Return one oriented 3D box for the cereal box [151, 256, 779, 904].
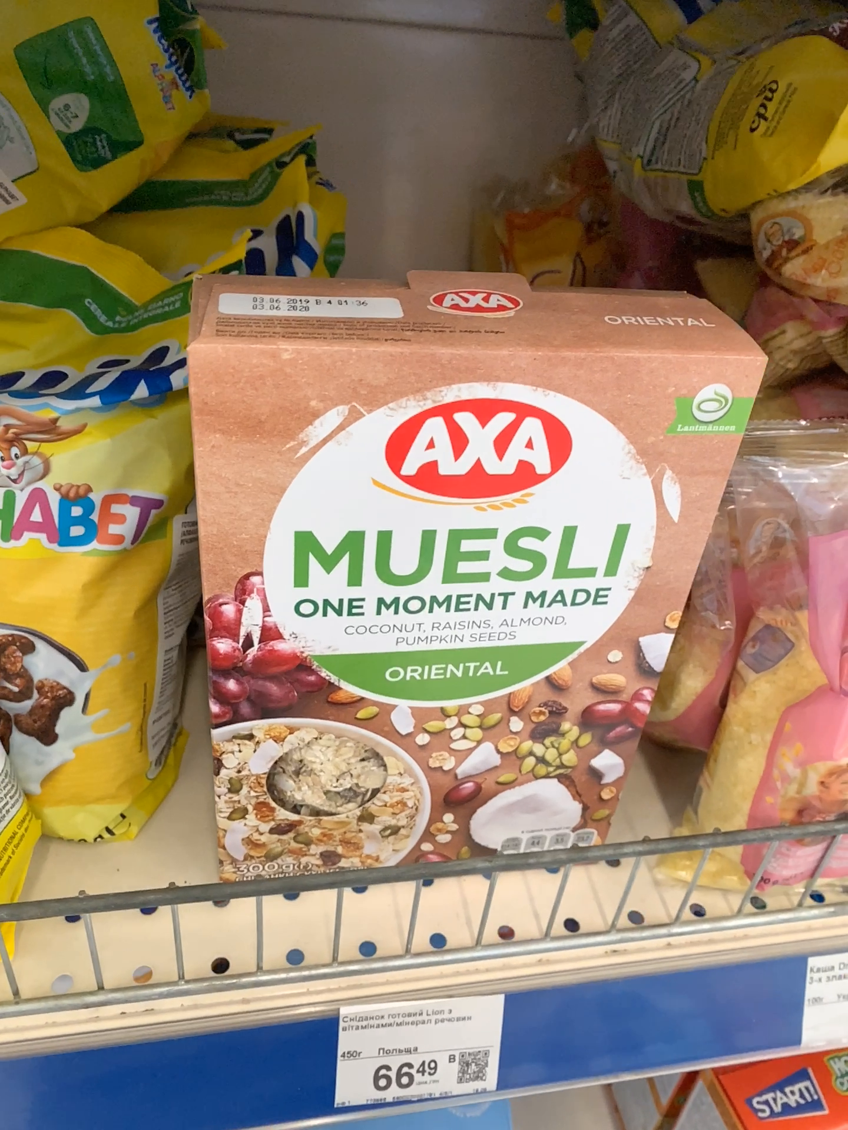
[{"bbox_3d":[0.001,0.020,0.290,0.150,0.218,0.050,-1,37,-10],"label":"cereal box"}]
